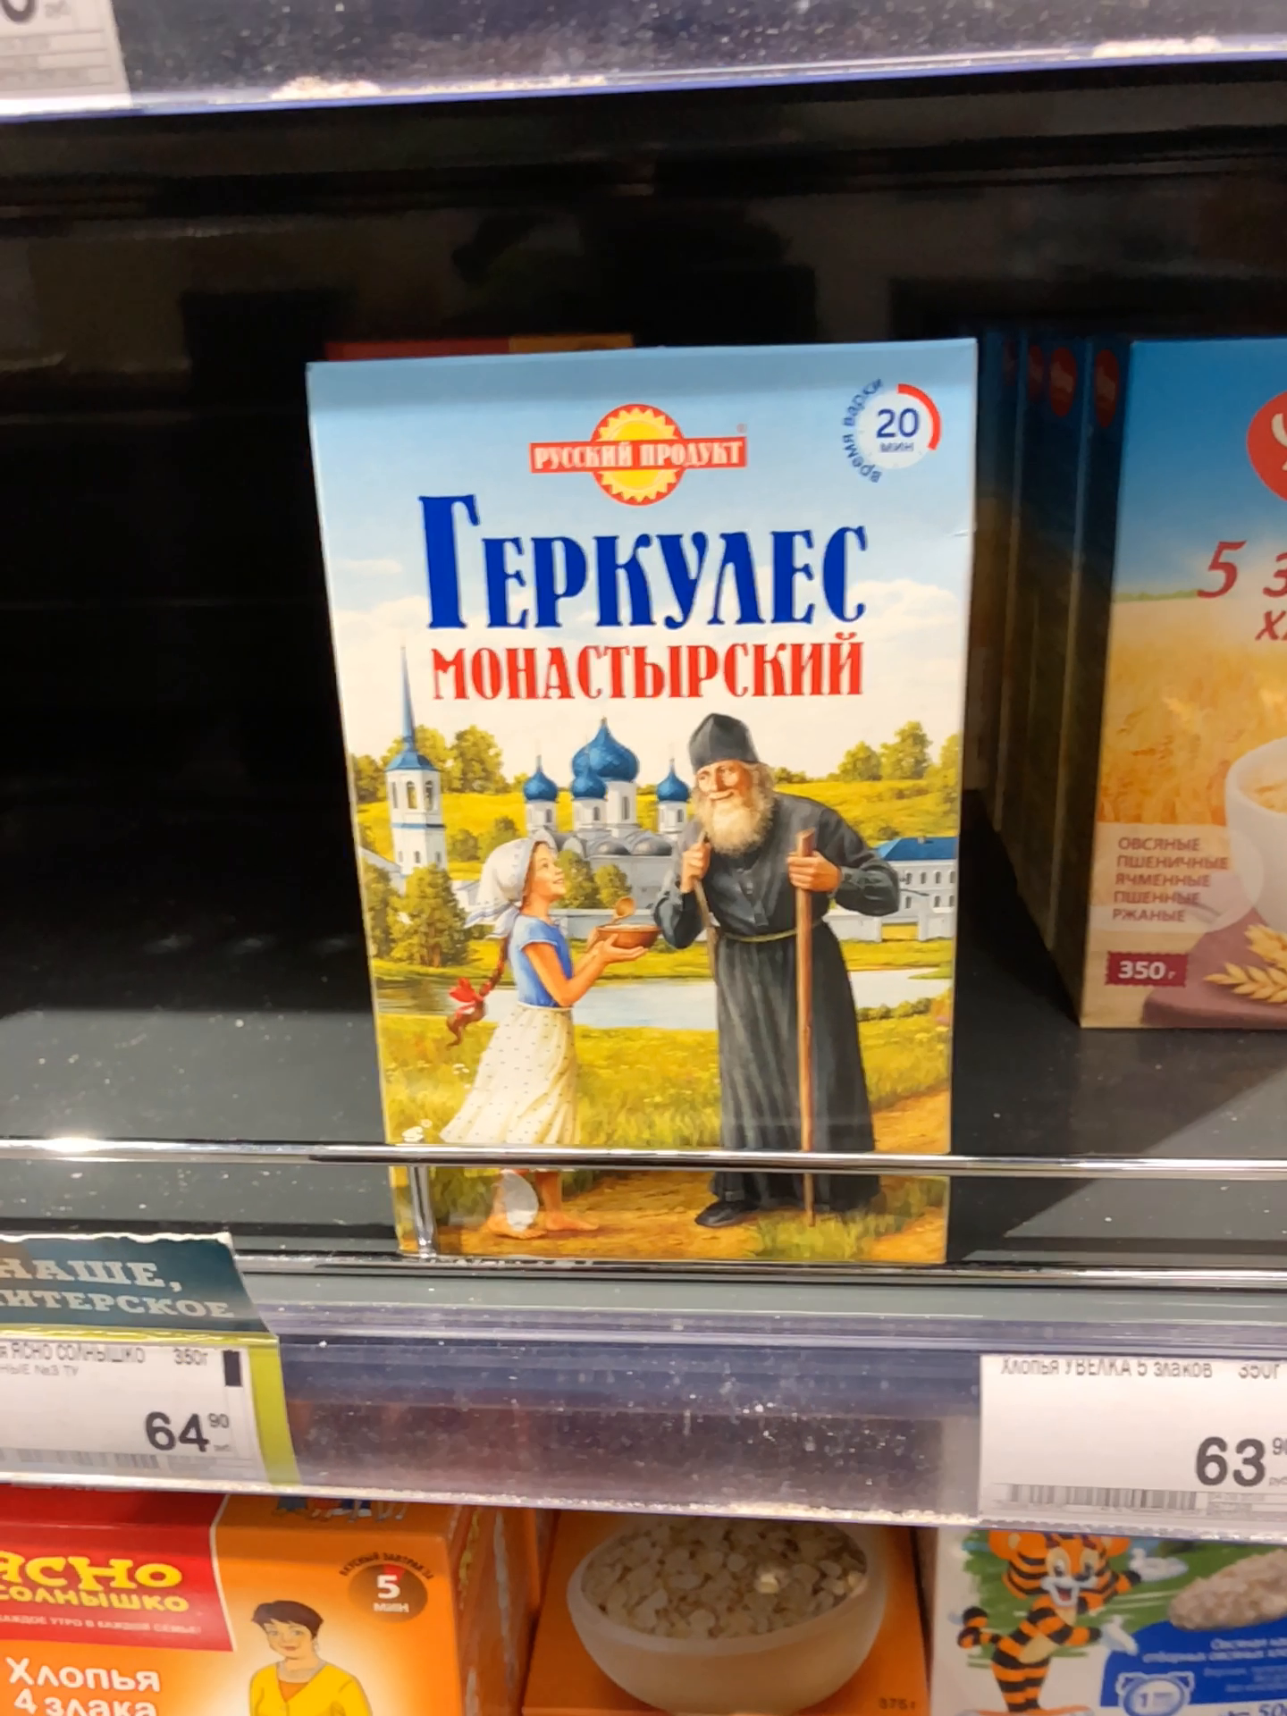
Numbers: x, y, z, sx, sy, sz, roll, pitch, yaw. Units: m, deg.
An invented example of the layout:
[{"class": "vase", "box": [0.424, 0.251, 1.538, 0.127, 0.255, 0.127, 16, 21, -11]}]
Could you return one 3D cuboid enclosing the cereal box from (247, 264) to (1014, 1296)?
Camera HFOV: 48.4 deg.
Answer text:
[{"class": "cereal box", "box": [0.001, -0.013, 0.301, 0.130, 0.199, 0.060, 0, 18, 4]}]
